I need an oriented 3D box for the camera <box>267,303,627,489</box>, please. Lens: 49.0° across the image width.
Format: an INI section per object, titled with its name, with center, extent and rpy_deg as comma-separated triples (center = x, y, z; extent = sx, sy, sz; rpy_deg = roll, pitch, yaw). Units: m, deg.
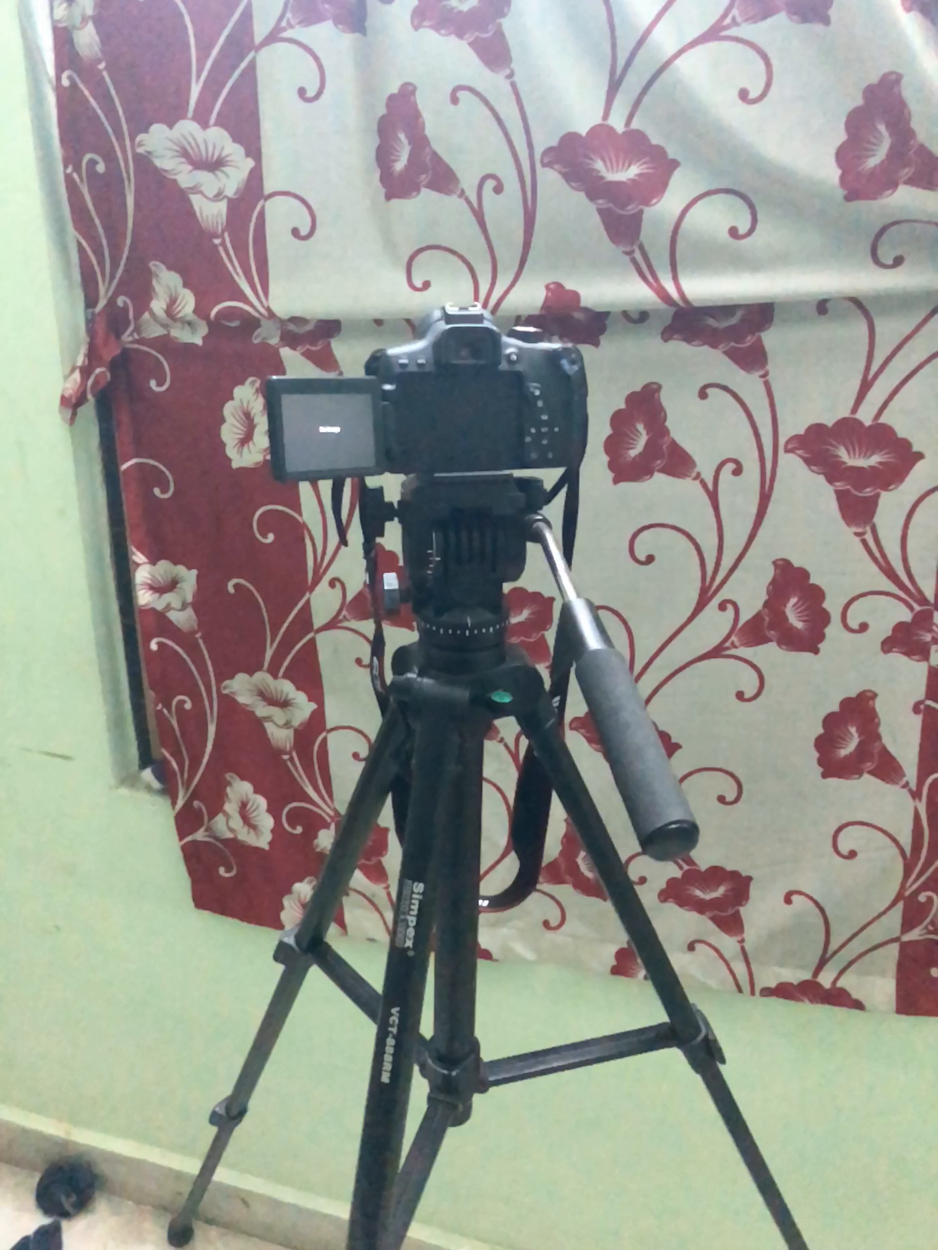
[camera]
center = -0.022, -0.150, 0.646
extent = 0.200, 0.087, 0.141
rpy_deg = -3, 23, -9
